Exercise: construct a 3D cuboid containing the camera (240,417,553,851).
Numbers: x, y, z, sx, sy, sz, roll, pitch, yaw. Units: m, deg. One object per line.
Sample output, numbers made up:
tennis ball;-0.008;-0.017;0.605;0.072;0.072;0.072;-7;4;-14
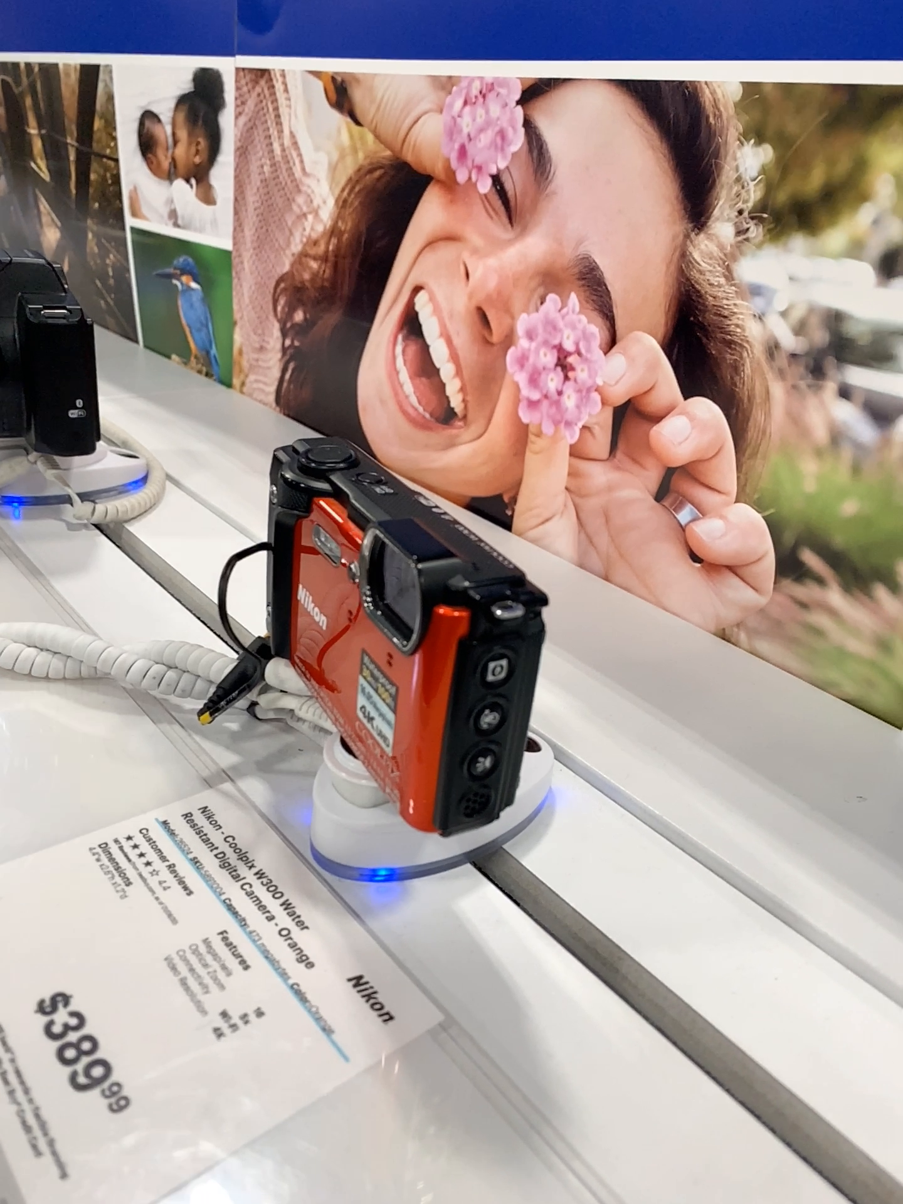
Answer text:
camera;-0.021;0.001;0.233;0.025;0.063;0.105;-10;32;-31
